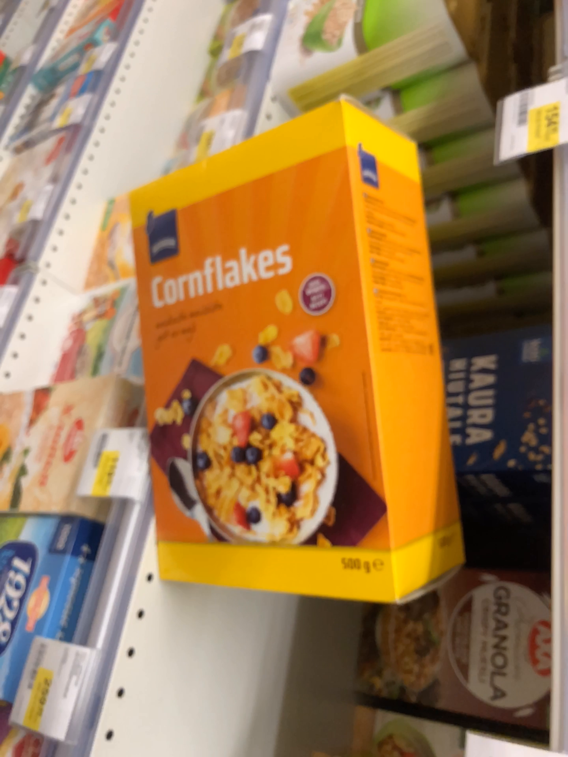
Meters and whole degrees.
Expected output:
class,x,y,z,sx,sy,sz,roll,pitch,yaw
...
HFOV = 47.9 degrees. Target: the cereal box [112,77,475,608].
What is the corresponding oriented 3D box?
class,x,y,z,sx,sy,sz,roll,pitch,yaw
cereal box,0.001,-0.013,0.453,0.121,0.199,0.290,0,84,-53
